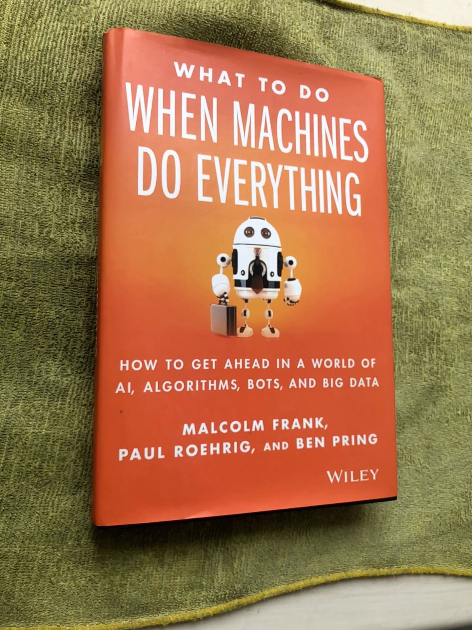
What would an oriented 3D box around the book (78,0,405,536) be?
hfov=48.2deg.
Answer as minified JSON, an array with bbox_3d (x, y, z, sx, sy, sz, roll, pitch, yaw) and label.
[{"bbox_3d":[0.005,-0.024,0.276,0.160,0.040,0.240,2,84,-20],"label":"book"}]
